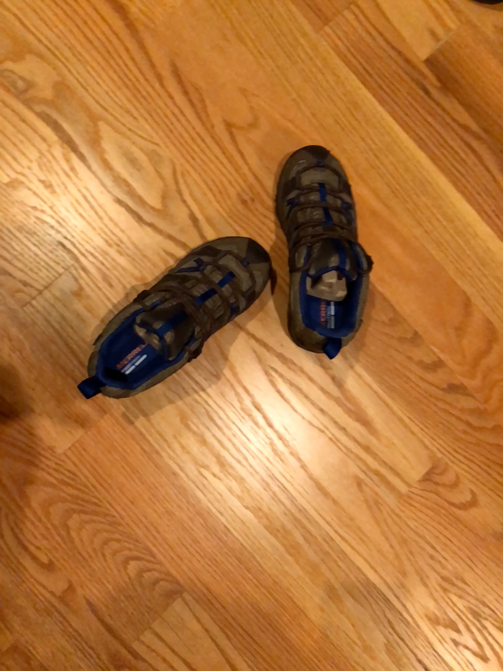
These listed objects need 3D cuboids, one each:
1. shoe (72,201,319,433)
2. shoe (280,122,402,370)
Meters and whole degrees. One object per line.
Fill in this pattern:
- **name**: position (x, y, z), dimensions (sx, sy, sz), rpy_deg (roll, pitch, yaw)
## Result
- **shoe**: position (-0.057, -0.018, 0.595), dimensions (0.240, 0.106, 0.094), rpy_deg (-42, 92, -7)
- **shoe**: position (0.093, -0.091, 0.606), dimensions (0.097, 0.094, 0.251), rpy_deg (-2, 87, -7)
